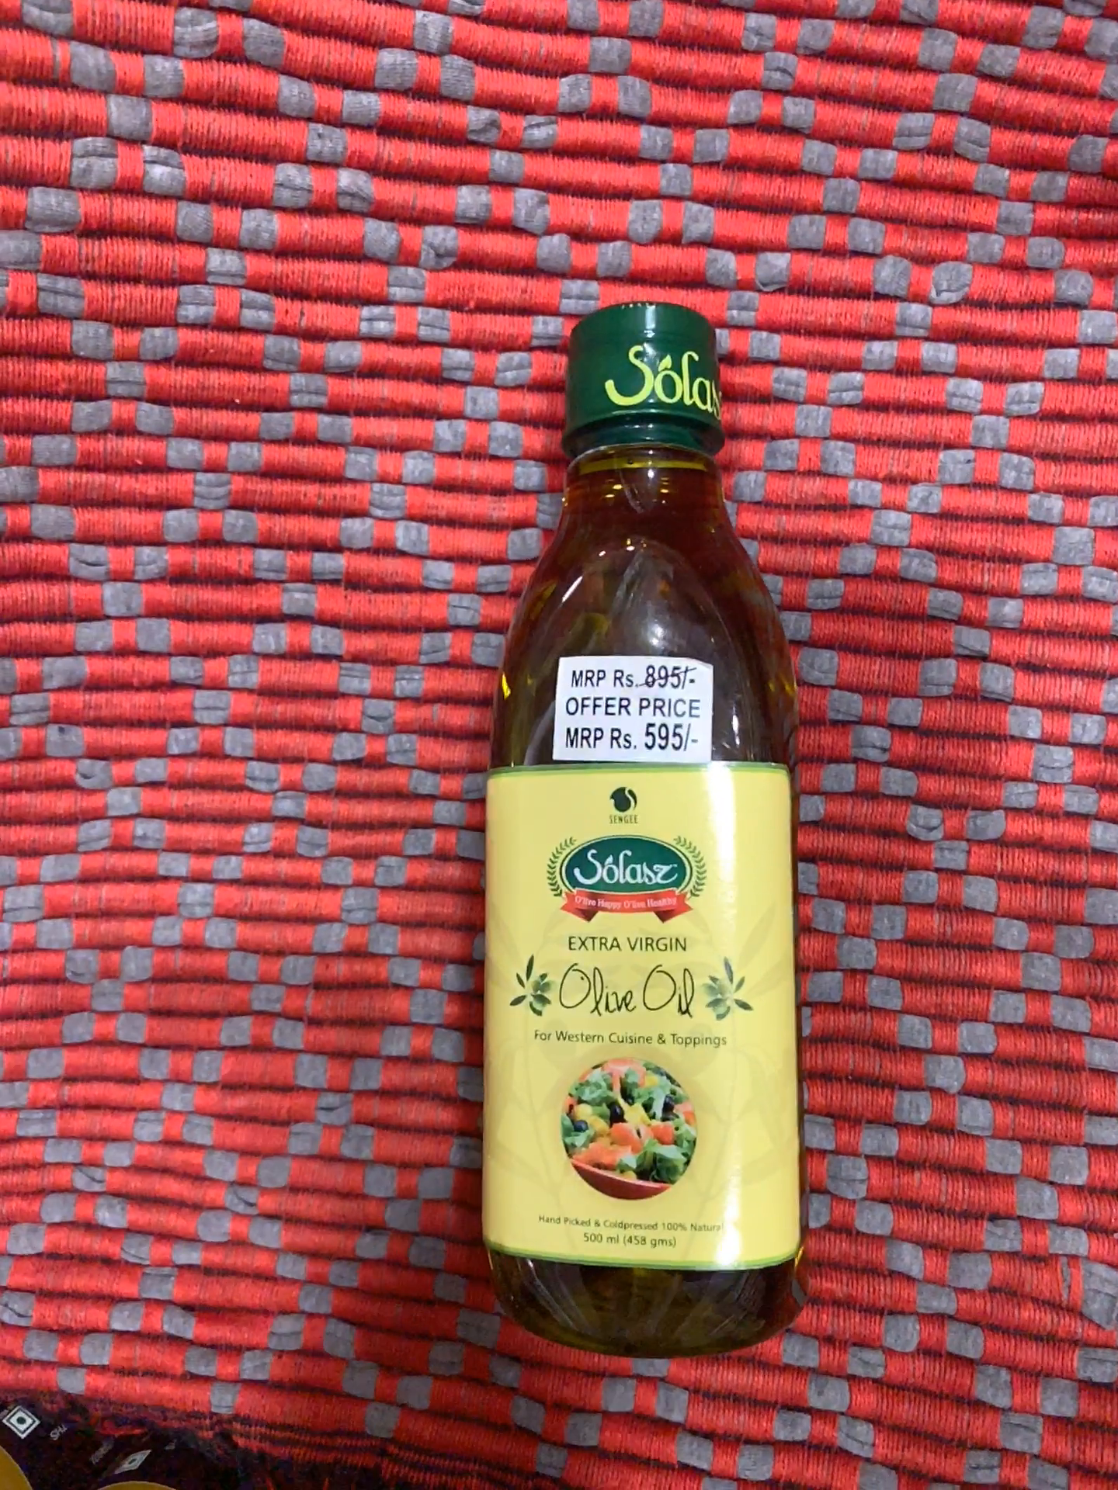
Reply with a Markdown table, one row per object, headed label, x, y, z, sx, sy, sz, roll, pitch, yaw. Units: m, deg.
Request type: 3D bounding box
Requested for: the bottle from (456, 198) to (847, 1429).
| label | x | y | z | sx | sy | sz | roll | pitch | yaw |
| --- | --- | --- | --- | --- | --- | --- | --- | --- | --- |
| bottle | 0.021 | 0.009 | 0.227 | 0.060 | 0.070 | 0.200 | -1 | 81 | 11 |
